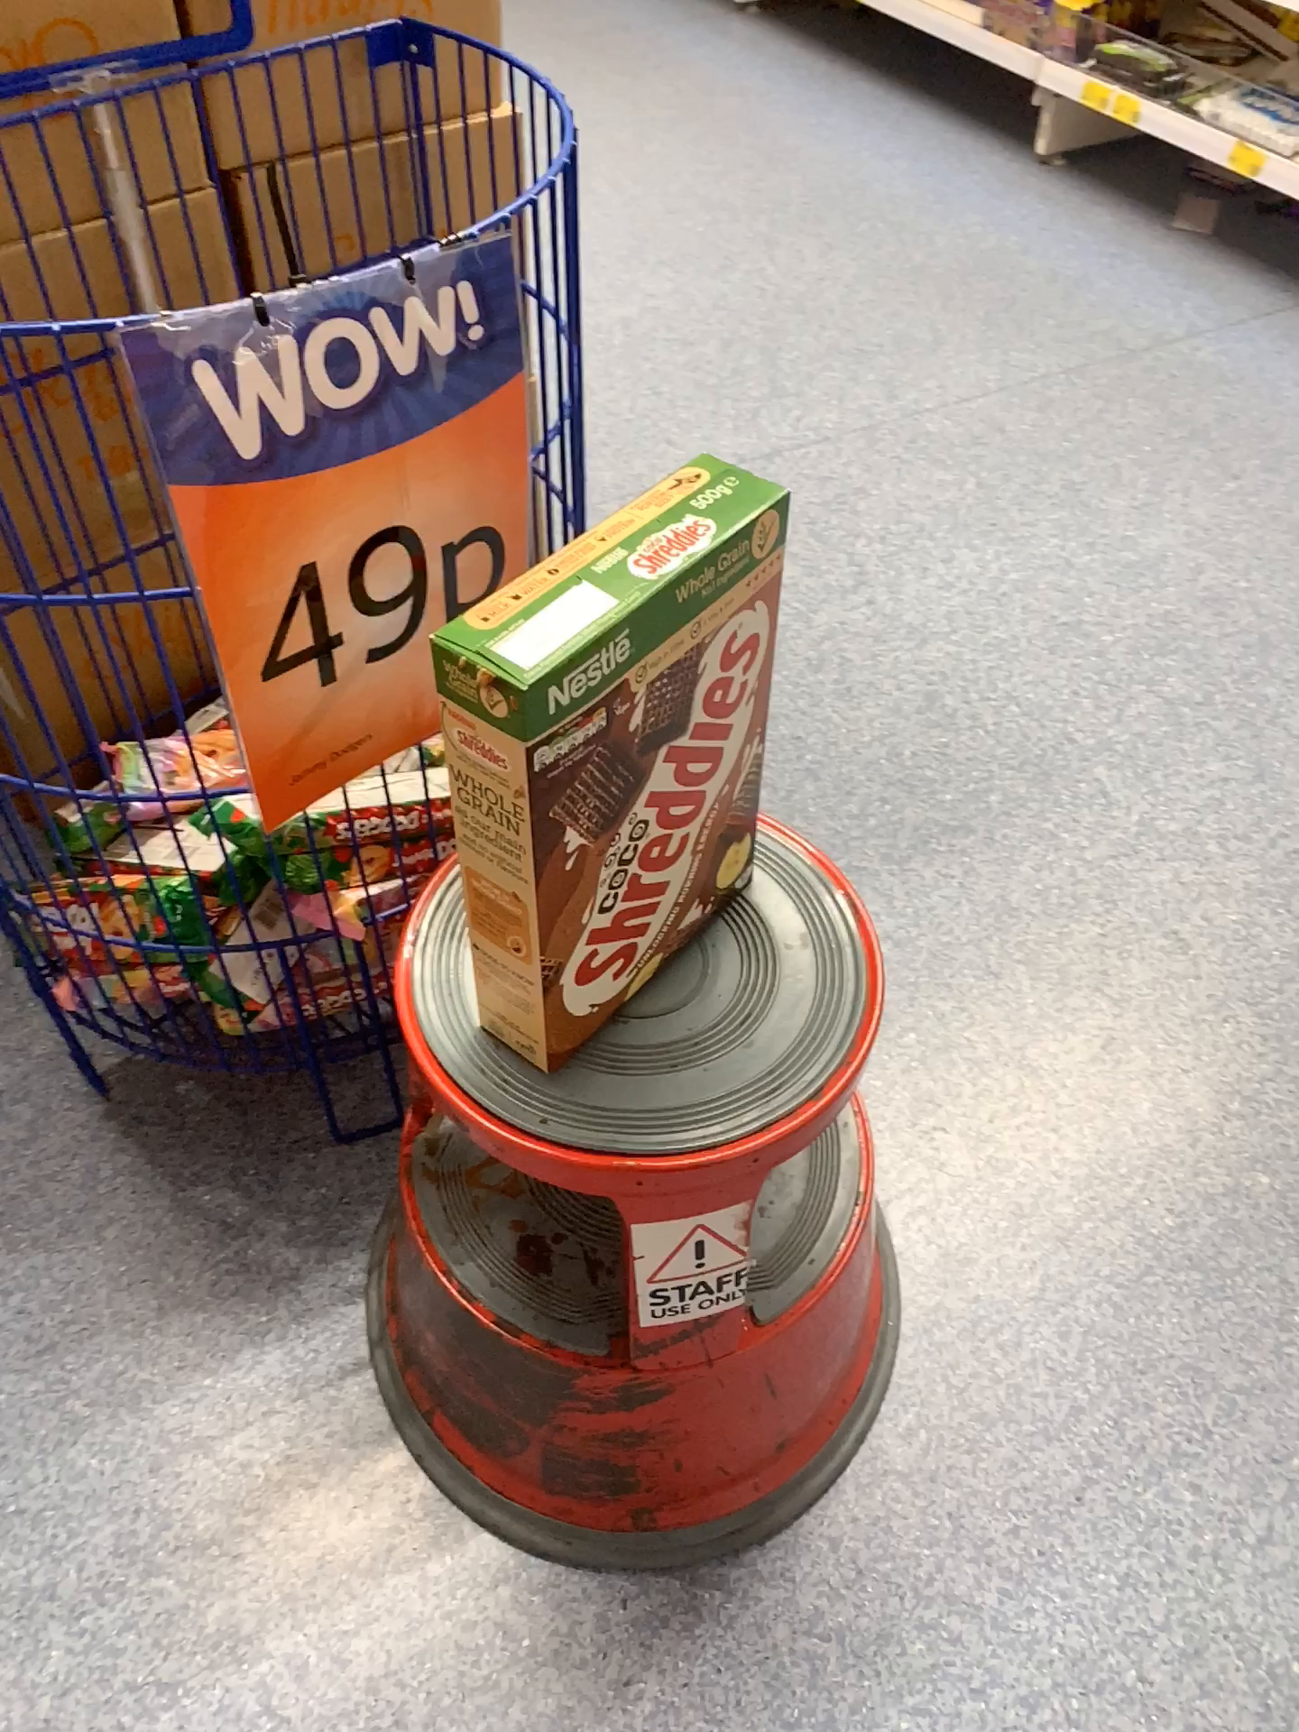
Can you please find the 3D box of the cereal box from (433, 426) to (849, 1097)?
[{"bbox_3d":[0.001,-0.045,0.674,0.070,0.277,0.201,30,53,25],"label":"cereal box"}]
